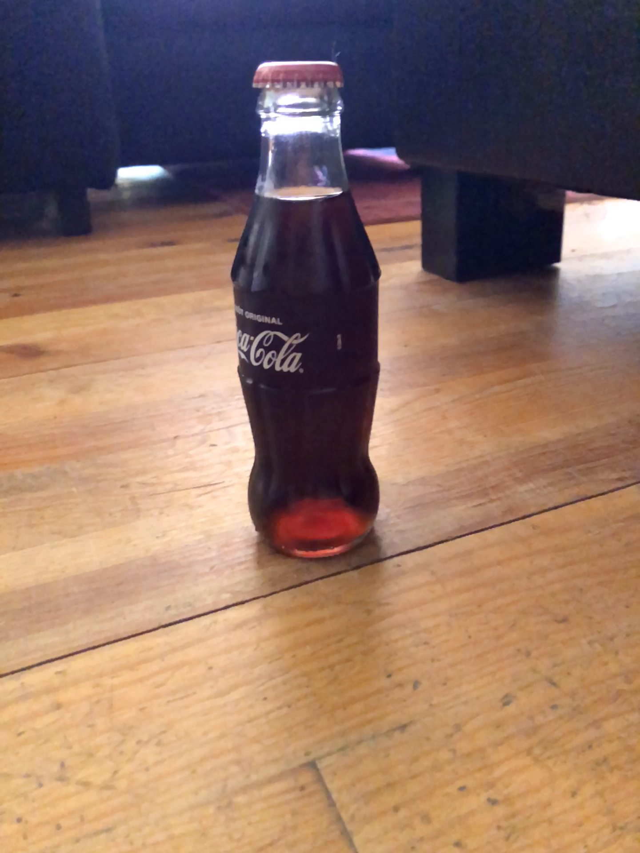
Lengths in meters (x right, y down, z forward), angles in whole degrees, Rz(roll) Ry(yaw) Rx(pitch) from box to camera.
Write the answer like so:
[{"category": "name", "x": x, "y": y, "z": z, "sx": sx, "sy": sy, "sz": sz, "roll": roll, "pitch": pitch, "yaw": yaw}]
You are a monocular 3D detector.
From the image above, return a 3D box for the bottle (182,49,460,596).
[{"category": "bottle", "x": 0.002, "y": -0.036, "z": 0.249, "sx": 0.060, "sy": 0.169, "sz": 0.060, "roll": -2, "pitch": 25, "yaw": 1}]
